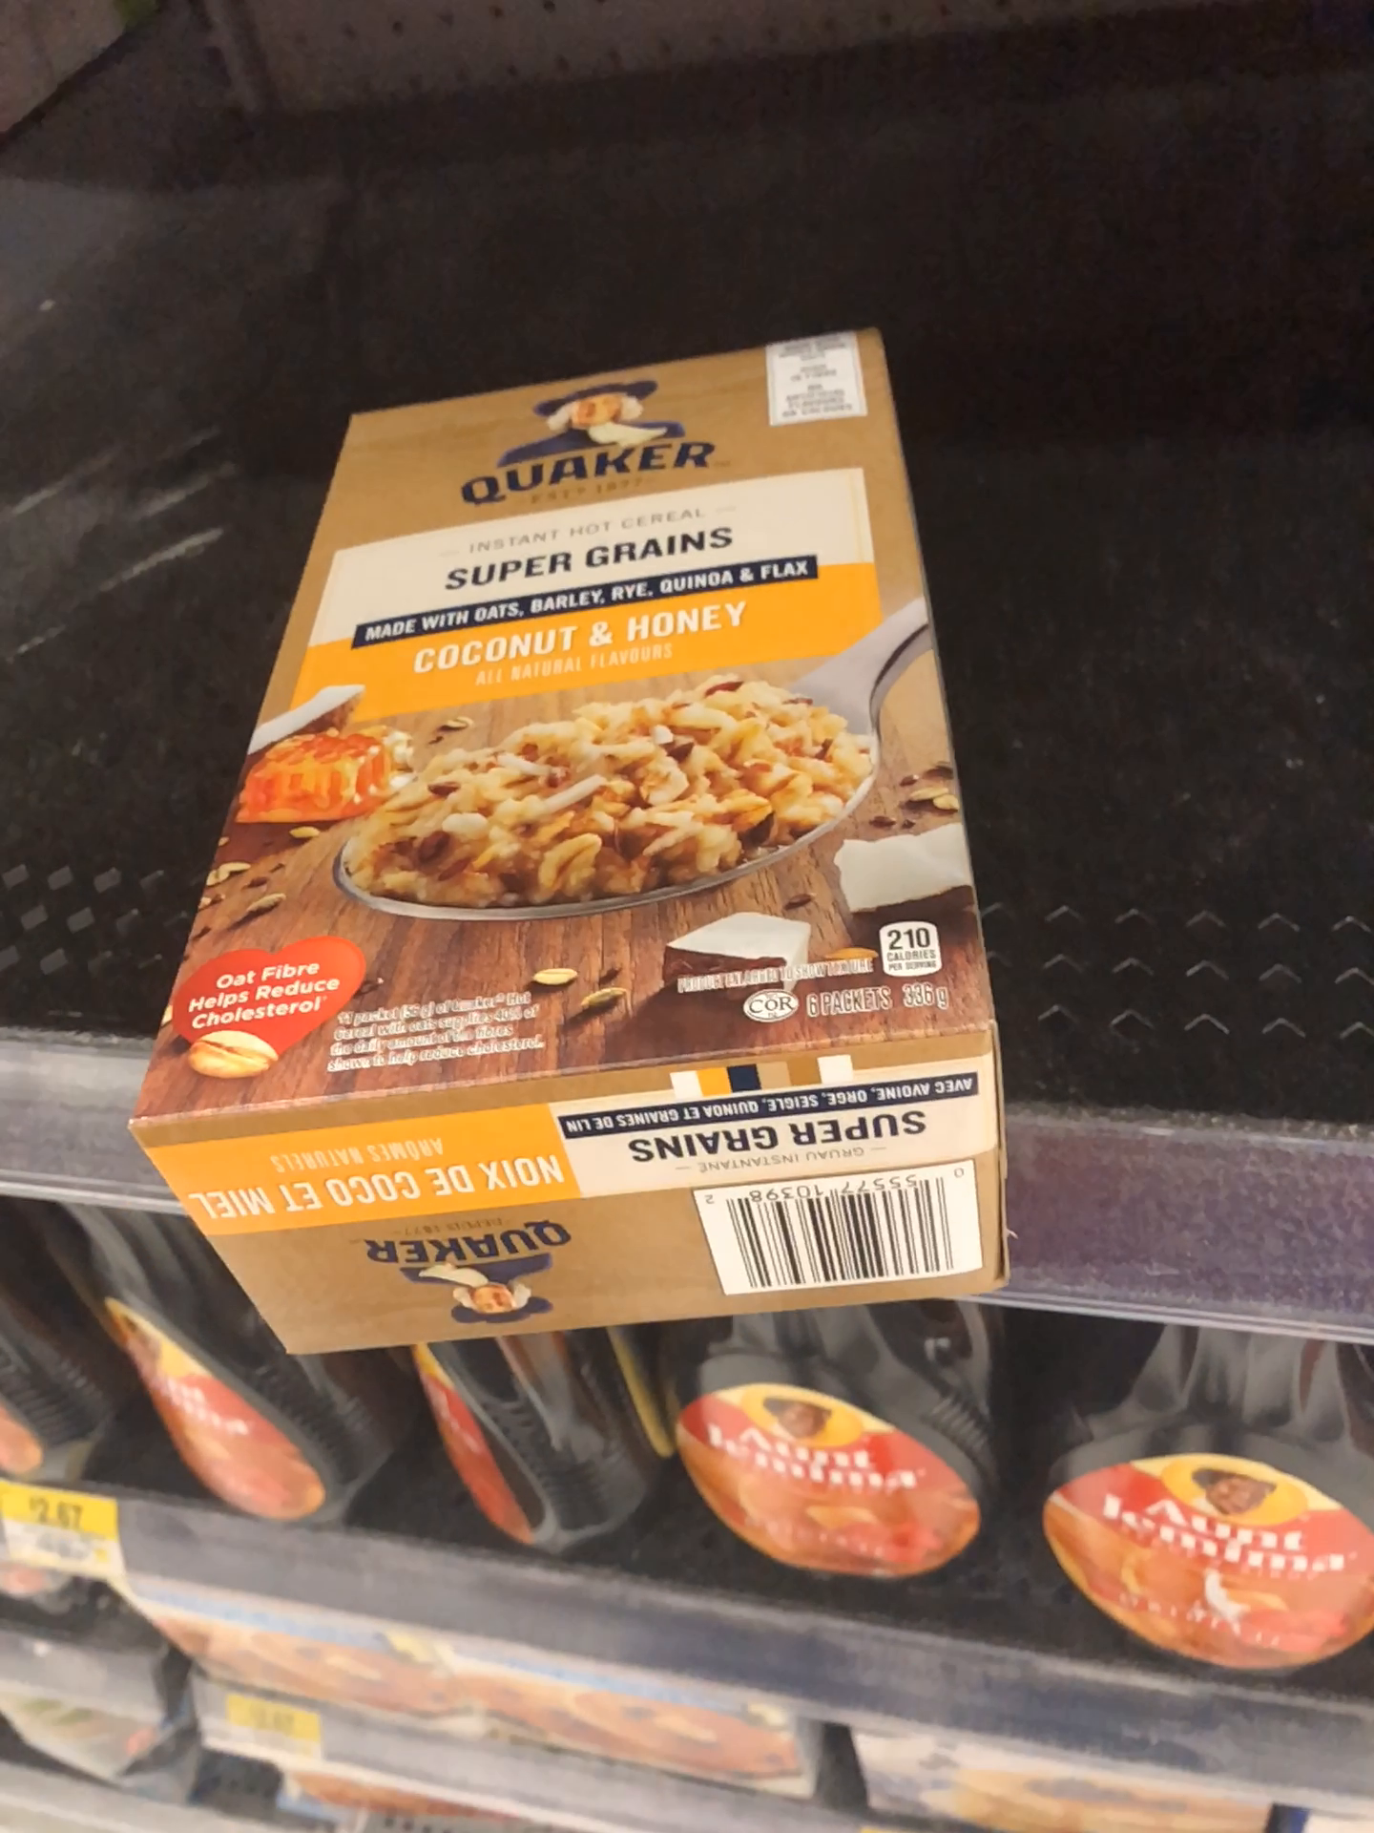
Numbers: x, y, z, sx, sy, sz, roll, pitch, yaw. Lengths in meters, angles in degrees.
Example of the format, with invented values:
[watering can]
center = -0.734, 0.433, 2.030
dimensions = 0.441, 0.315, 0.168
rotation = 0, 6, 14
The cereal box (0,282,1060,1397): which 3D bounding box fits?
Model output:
[cereal box]
center = -0.019, -0.034, 0.293
dimensions = 0.140, 0.060, 0.231
rotation = -7, 43, 7
